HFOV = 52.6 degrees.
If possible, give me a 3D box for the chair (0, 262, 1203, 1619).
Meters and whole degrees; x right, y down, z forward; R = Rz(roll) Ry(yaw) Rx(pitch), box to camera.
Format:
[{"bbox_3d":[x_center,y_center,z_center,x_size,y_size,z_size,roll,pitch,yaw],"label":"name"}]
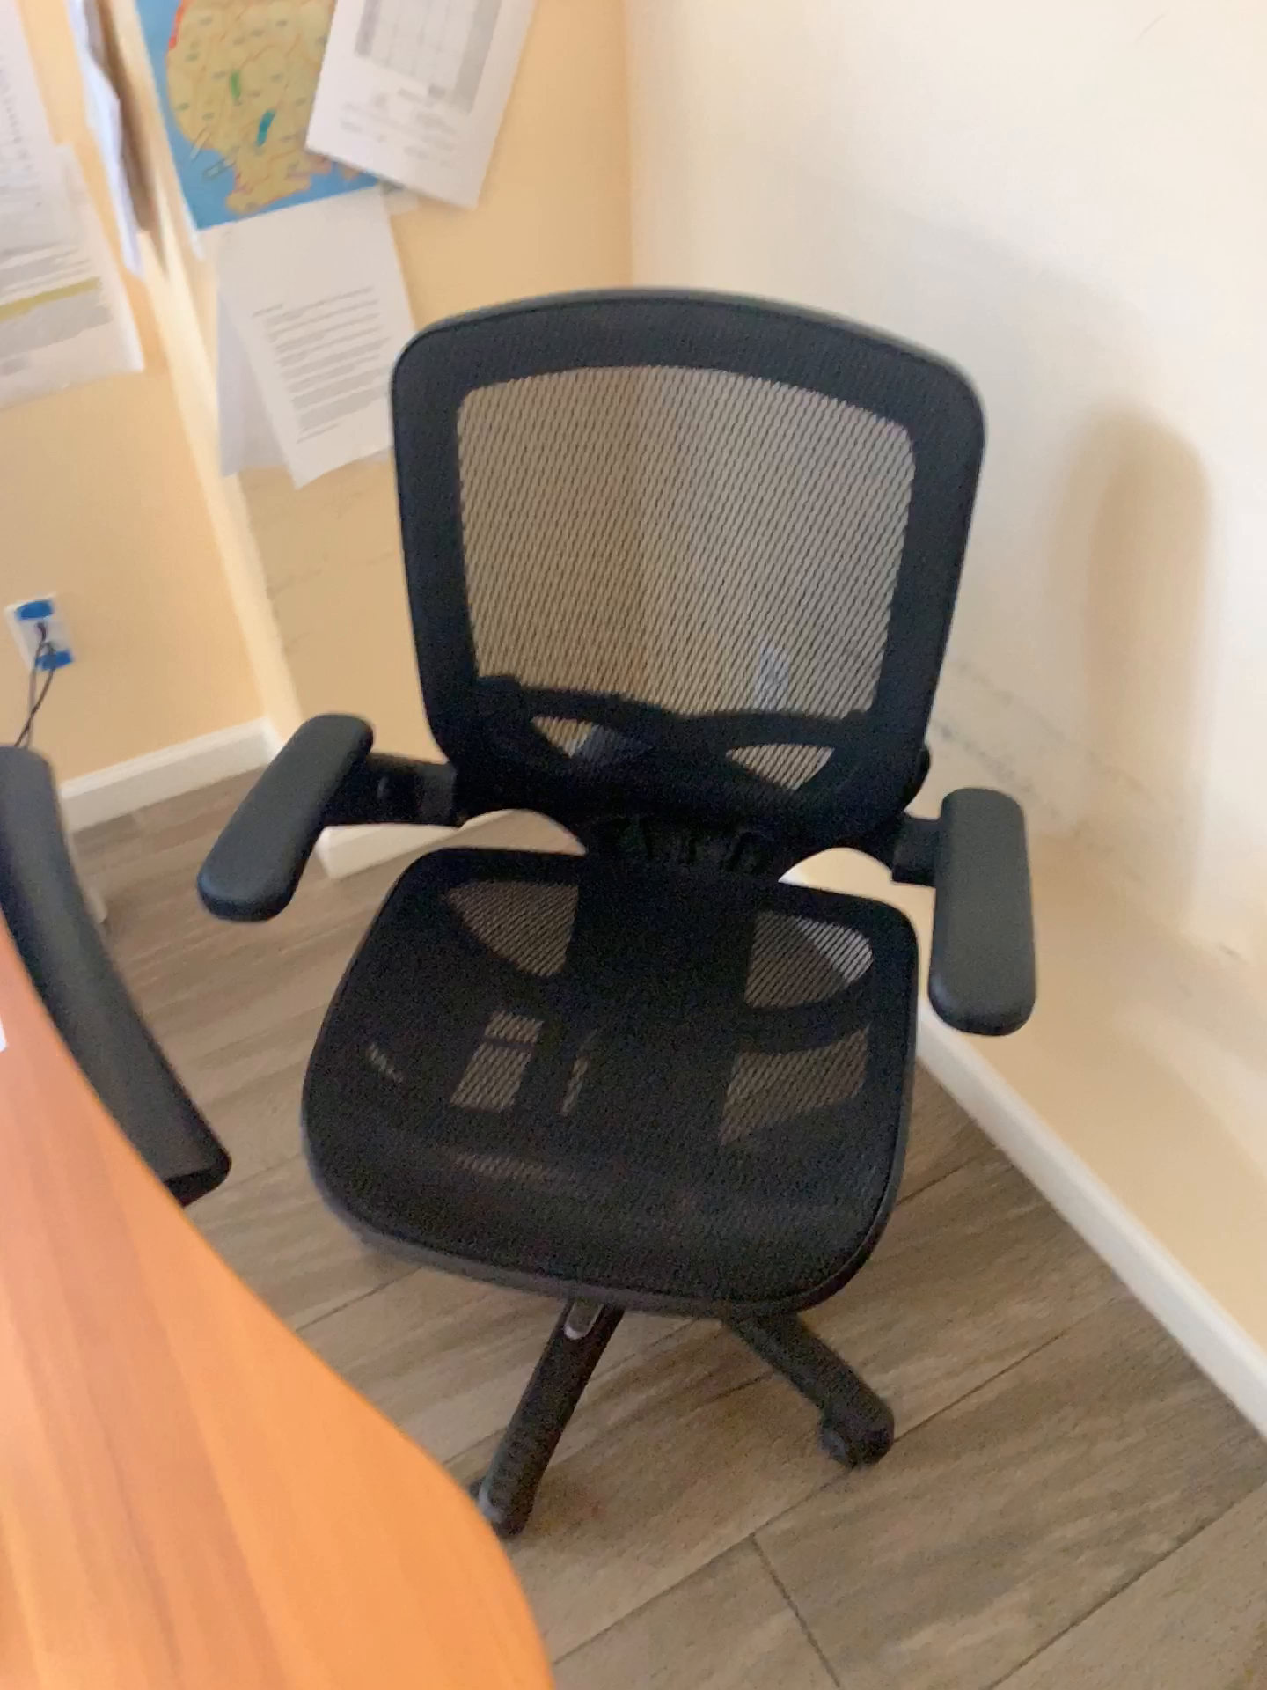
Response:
[{"bbox_3d":[-0.004,0.082,1.170,0.639,0.869,0.776,7,45,7],"label":"chair"}]
